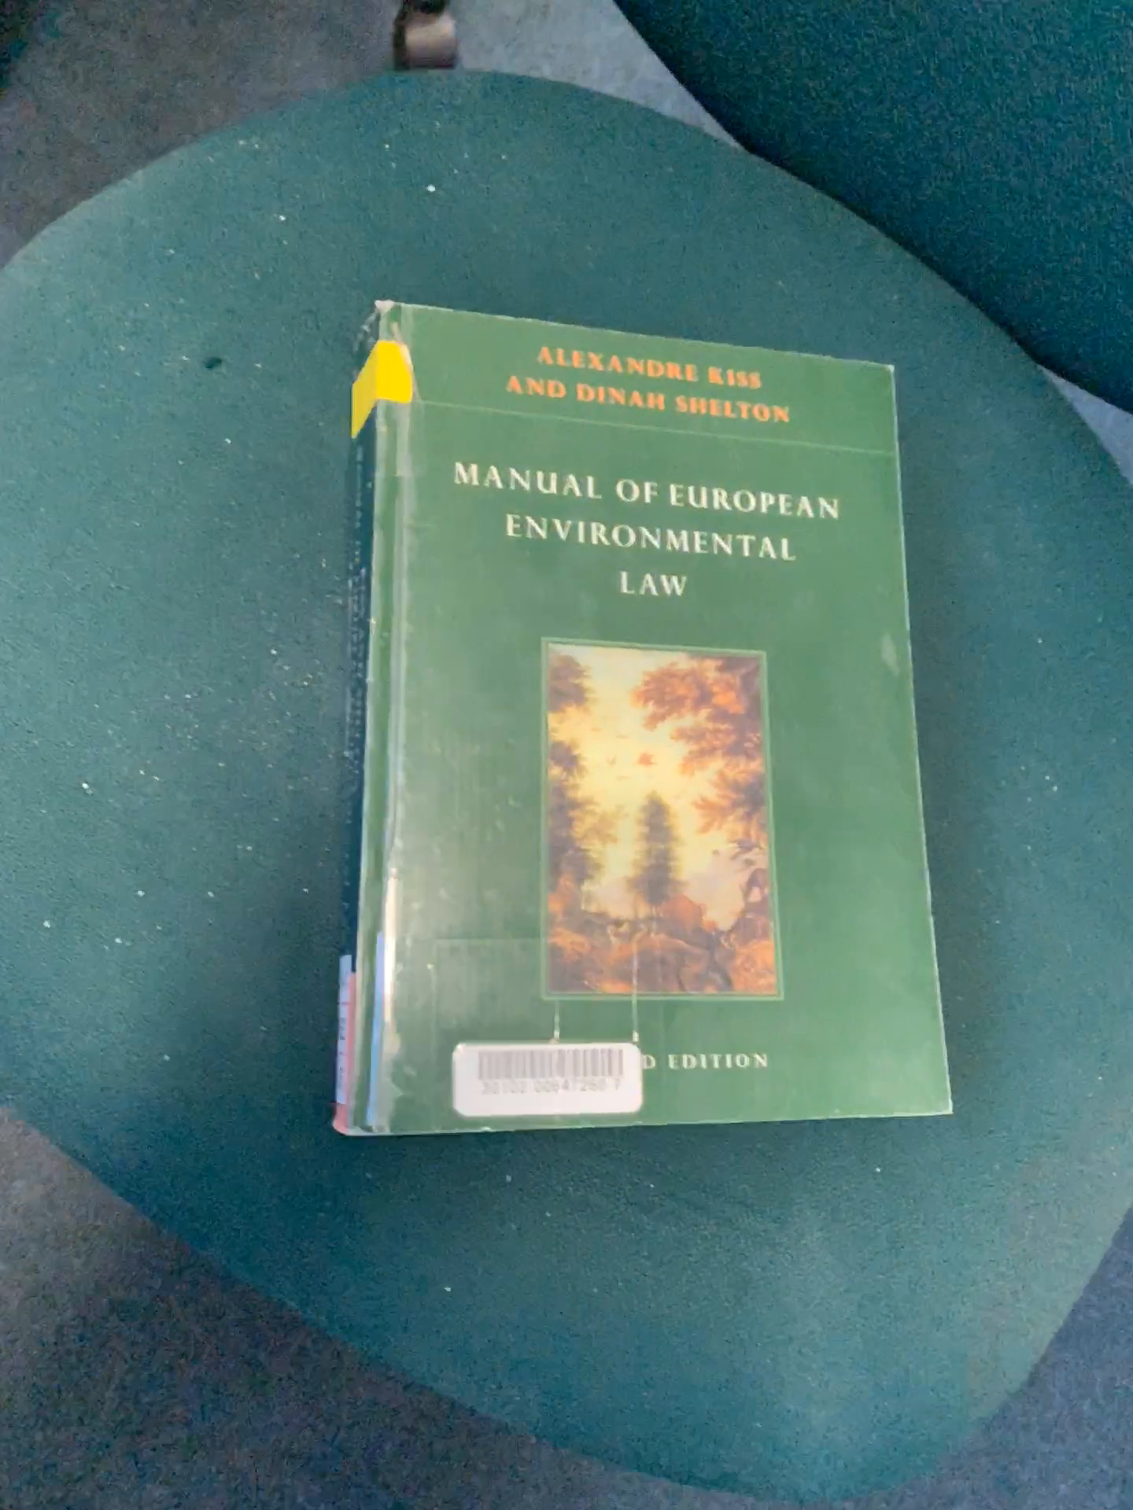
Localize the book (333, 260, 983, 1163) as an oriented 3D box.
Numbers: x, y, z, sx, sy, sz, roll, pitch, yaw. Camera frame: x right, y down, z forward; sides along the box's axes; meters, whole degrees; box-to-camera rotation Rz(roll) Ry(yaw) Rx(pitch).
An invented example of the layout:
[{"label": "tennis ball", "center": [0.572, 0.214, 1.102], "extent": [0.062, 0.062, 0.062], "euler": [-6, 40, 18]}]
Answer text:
[{"label": "book", "center": [0.025, -0.015, 0.355], "extent": [0.180, 0.040, 0.250], "euler": [2, 78, -14]}]
